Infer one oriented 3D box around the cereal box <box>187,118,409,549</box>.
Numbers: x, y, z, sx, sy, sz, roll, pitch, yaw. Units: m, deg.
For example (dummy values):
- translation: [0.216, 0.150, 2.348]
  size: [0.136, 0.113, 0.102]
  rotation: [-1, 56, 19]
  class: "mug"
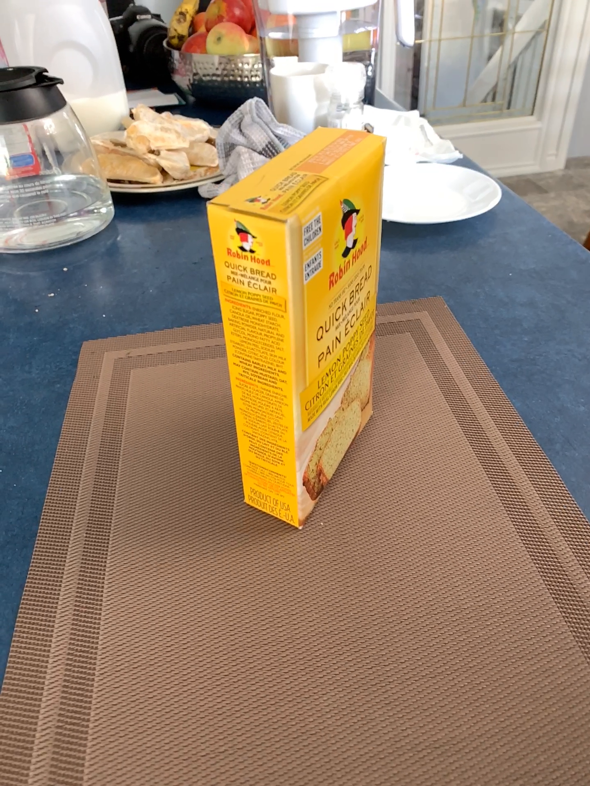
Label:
- translation: [0.013, -0.030, 0.317]
  size: [0.040, 0.178, 0.131]
  rotation: [16, 42, 23]
  class: "cereal box"
